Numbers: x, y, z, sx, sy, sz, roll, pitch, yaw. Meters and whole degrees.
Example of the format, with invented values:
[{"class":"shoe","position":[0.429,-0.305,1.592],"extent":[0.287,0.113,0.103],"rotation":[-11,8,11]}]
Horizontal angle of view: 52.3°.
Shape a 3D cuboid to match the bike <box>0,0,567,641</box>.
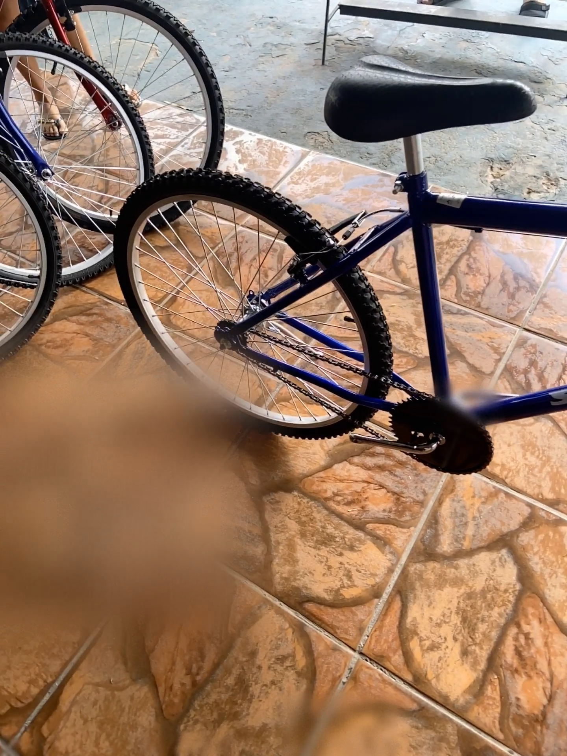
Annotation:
[{"class":"bike","position":[0.405,-0.194,0.993],"extent":[1.525,1.014,0.574],"rotation":[15,58,13]}]
